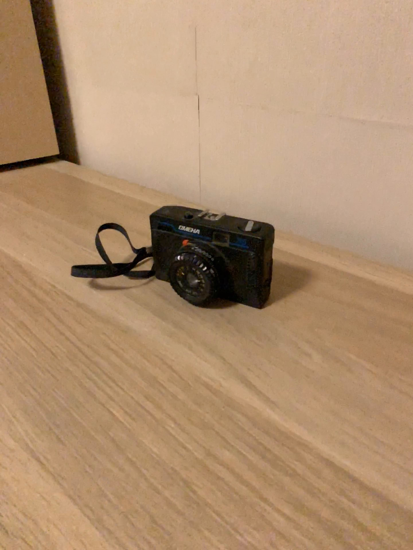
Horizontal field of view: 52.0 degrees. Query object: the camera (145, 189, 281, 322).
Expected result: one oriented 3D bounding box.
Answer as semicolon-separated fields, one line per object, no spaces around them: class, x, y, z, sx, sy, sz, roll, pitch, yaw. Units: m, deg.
camera;0.006;-0.020;0.383;0.110;0.089;0.040;16;38;25
